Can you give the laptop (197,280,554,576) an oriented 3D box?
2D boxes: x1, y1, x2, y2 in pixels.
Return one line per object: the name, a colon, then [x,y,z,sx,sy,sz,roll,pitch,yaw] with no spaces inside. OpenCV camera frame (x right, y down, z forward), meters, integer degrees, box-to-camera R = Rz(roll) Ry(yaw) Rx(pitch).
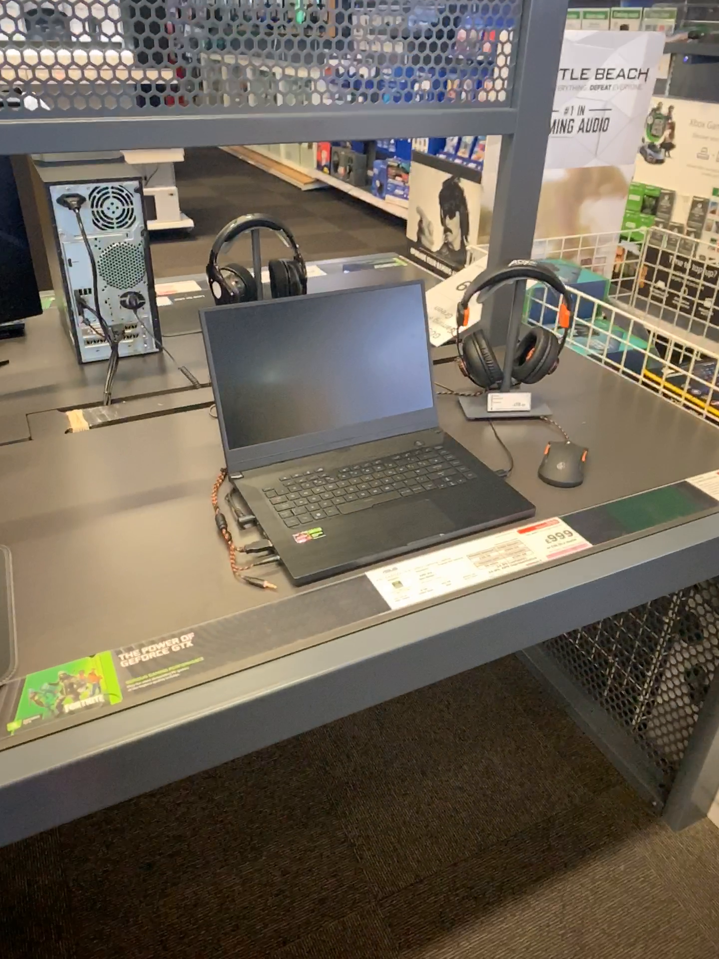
laptop: [0.006,-0.097,0.983,0.348,0.203,0.325,-13,37,-24]
